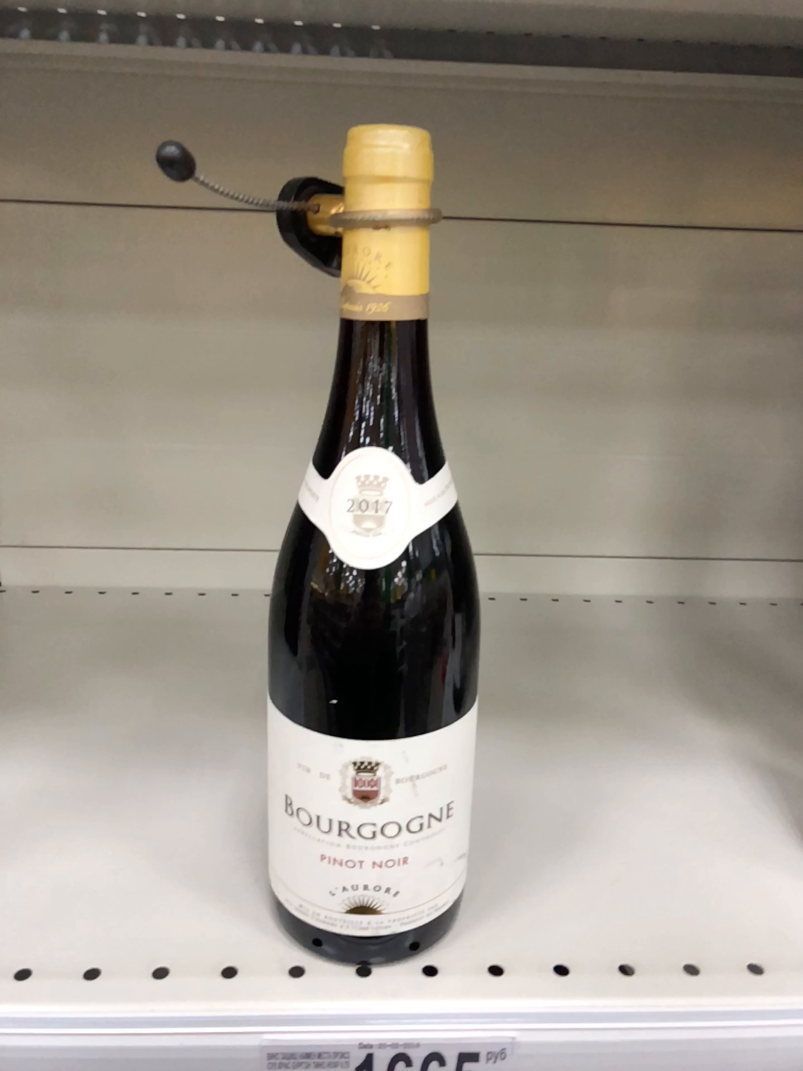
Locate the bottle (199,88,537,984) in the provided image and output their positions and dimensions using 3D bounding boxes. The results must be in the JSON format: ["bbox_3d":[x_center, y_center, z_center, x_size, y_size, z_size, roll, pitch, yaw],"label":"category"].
[{"bbox_3d":[-0.012,0.007,0.320,0.090,0.289,0.090,2,17,-1],"label":"bottle"}]
